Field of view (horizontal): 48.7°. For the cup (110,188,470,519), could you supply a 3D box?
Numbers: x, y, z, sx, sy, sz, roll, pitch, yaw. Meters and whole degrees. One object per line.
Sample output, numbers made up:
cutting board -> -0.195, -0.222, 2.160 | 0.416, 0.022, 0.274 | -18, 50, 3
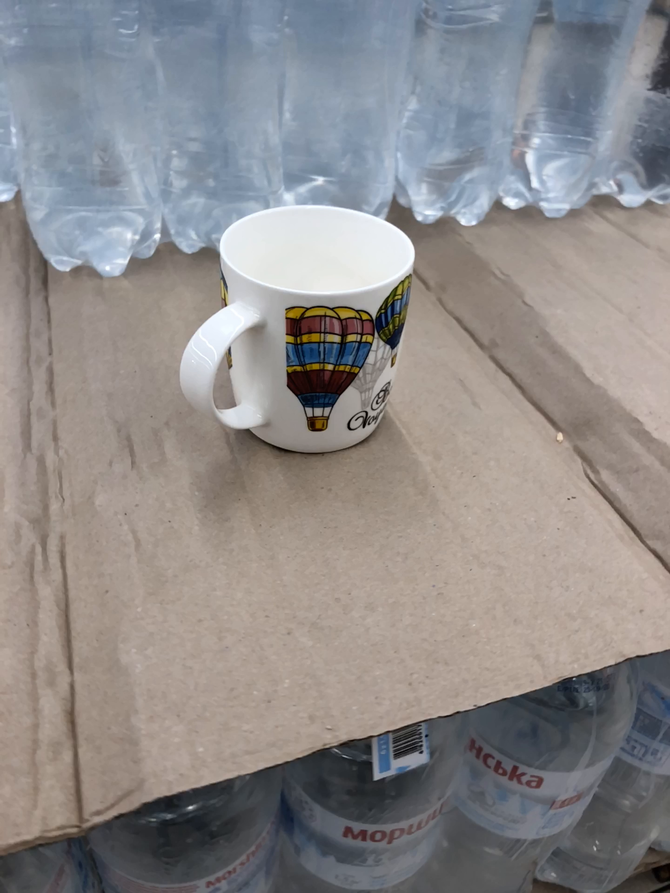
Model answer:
cup -> -0.017, -0.052, 0.352 | 0.093, 0.082, 0.131 | 31, 49, 31
